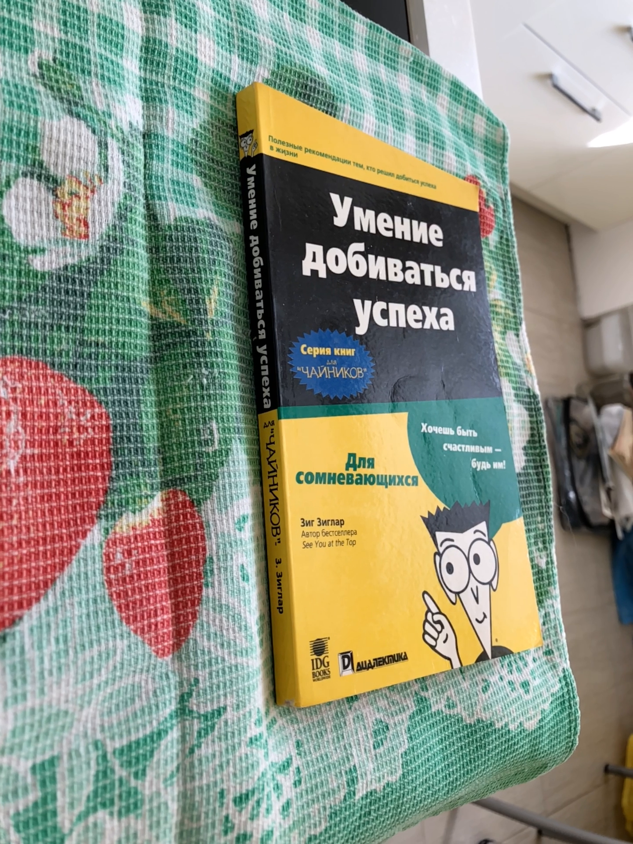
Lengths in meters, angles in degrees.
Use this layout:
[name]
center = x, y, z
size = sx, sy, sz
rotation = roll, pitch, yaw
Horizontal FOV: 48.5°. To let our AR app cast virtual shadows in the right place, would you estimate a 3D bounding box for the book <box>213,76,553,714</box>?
[book]
center = 0.024, -0.010, 0.227
size = 0.113, 0.017, 0.172
rotation = 5, 75, -40
